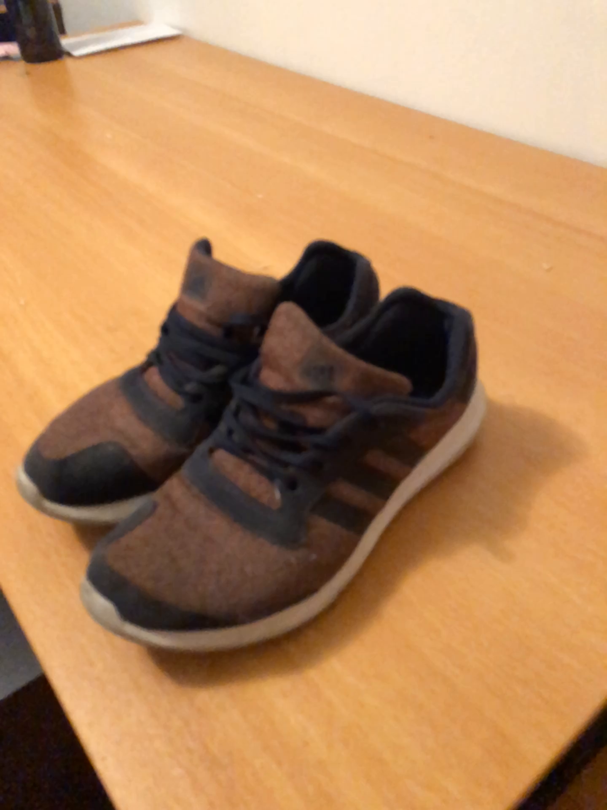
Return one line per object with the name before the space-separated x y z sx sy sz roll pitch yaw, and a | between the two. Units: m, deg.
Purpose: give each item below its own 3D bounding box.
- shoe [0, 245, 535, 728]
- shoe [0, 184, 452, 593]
shoe | -0.006 0.021 0.359 0.261 0.099 0.111 -32 48 -29
shoe | -0.056 -0.036 0.445 0.311 0.099 0.131 -32 48 -29
